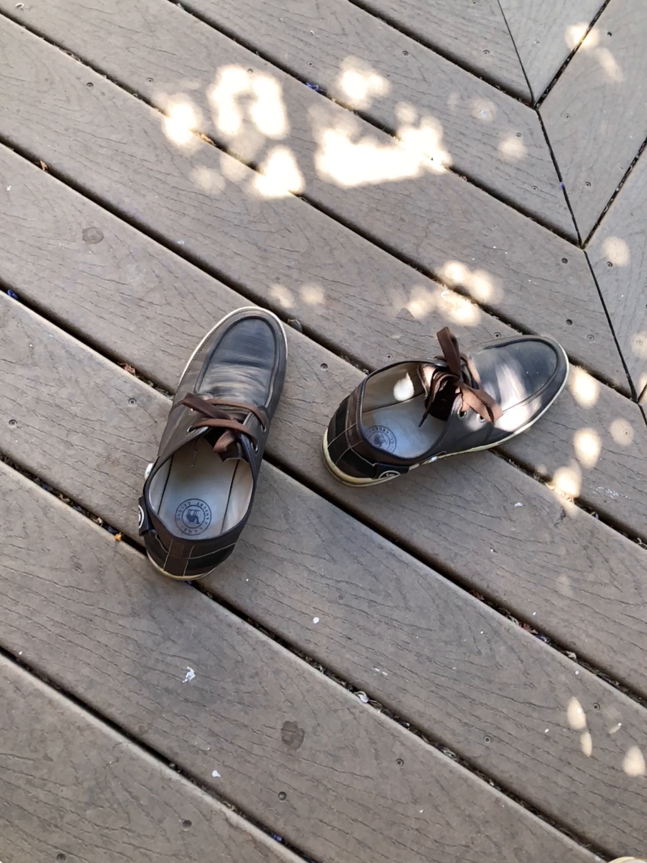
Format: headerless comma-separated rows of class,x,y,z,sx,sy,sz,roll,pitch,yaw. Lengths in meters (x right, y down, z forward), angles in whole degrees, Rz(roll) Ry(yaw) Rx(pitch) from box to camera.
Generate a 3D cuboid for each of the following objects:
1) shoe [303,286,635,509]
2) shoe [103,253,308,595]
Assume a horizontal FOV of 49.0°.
shoe,0.144,-0.034,0.745,0.303,0.121,0.108,-20,77,-13
shoe,-0.108,-0.004,0.704,0.108,0.121,0.301,14,72,-3
